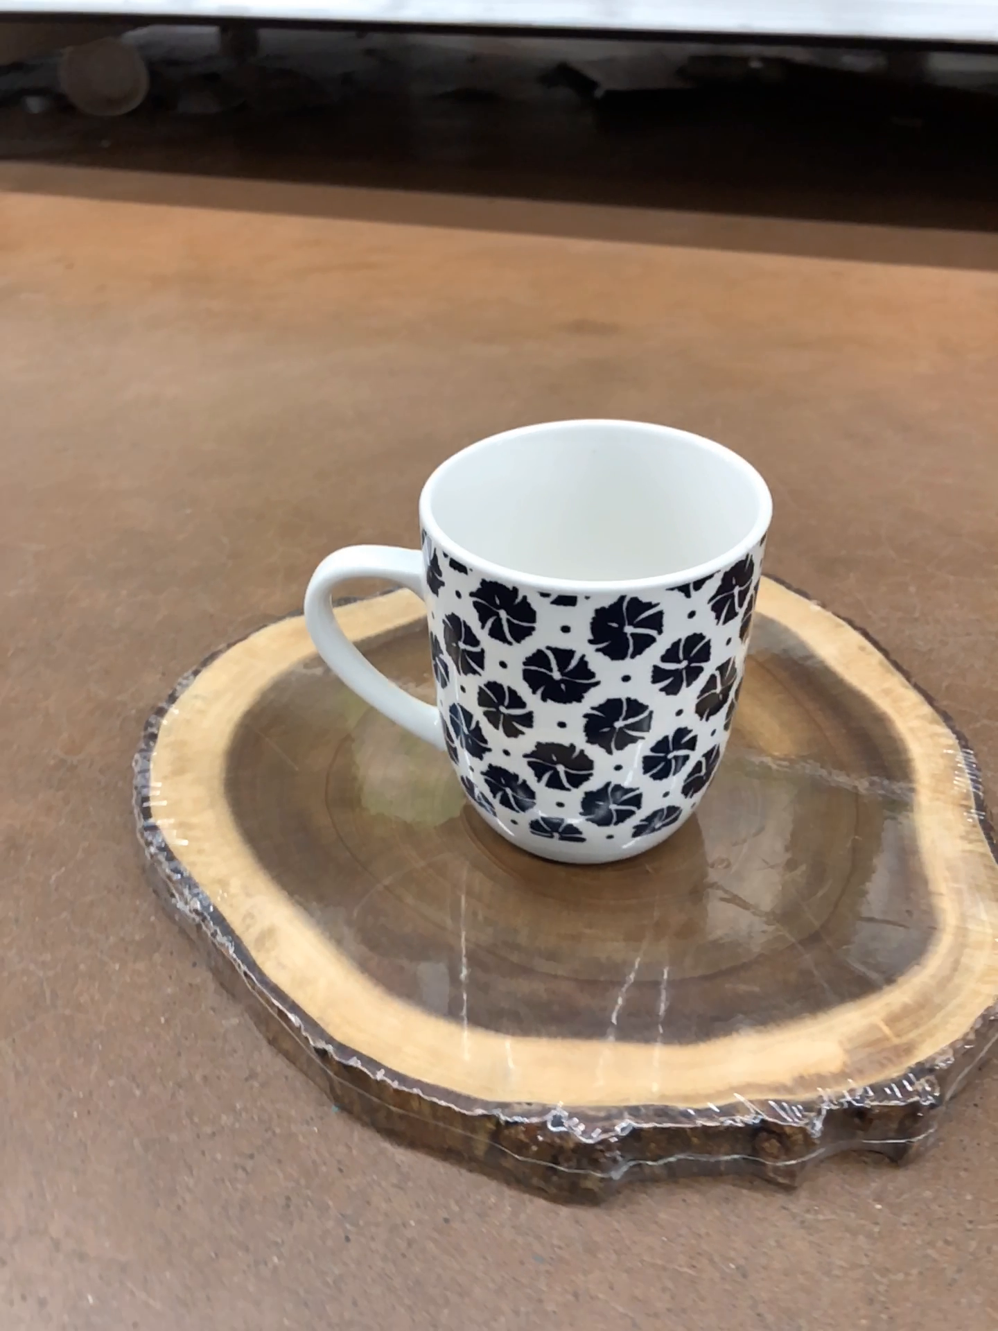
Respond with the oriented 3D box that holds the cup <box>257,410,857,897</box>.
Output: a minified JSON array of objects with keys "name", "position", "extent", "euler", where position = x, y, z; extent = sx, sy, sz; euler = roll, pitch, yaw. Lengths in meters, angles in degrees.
[{"name":"cup","position":[0.014,-0.005,0.308],"extent":[0.130,0.100,0.090],"euler":[0,36,1]}]
